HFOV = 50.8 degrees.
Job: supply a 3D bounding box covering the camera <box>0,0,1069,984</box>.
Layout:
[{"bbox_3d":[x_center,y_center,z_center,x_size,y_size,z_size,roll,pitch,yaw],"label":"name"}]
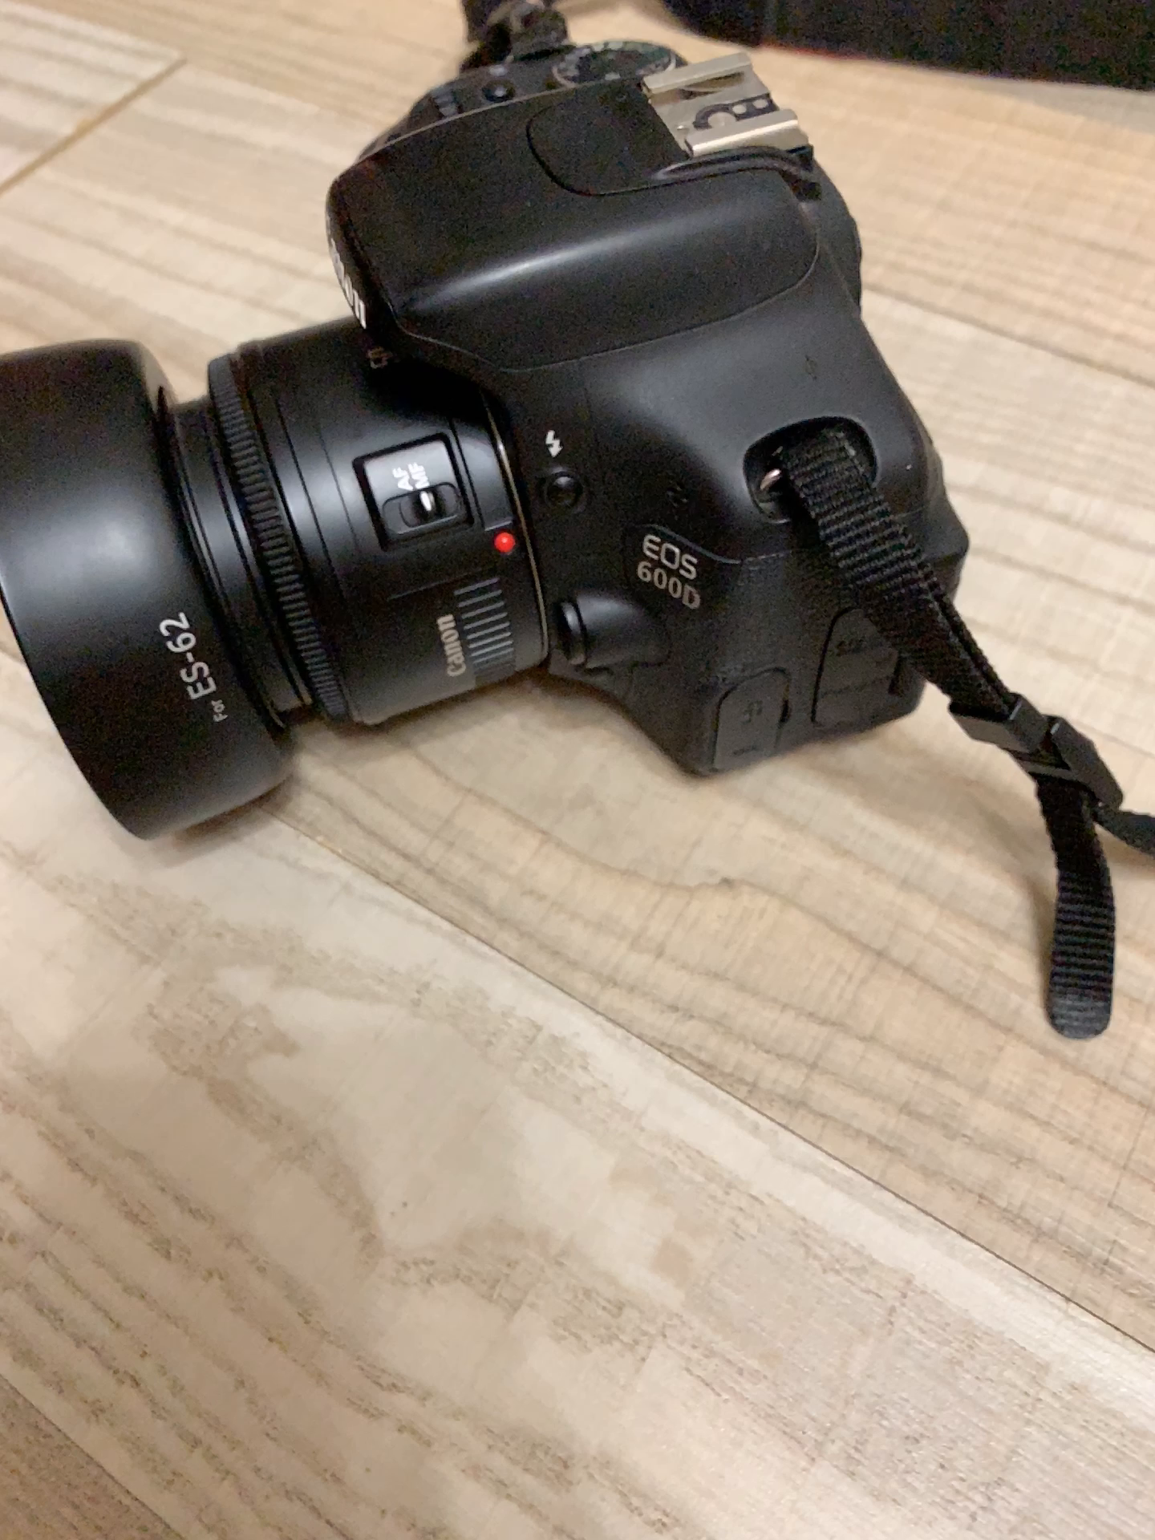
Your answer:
[{"bbox_3d":[-0.029,-0.065,0.215,0.150,0.089,0.139,-18,59,-6],"label":"camera"}]
